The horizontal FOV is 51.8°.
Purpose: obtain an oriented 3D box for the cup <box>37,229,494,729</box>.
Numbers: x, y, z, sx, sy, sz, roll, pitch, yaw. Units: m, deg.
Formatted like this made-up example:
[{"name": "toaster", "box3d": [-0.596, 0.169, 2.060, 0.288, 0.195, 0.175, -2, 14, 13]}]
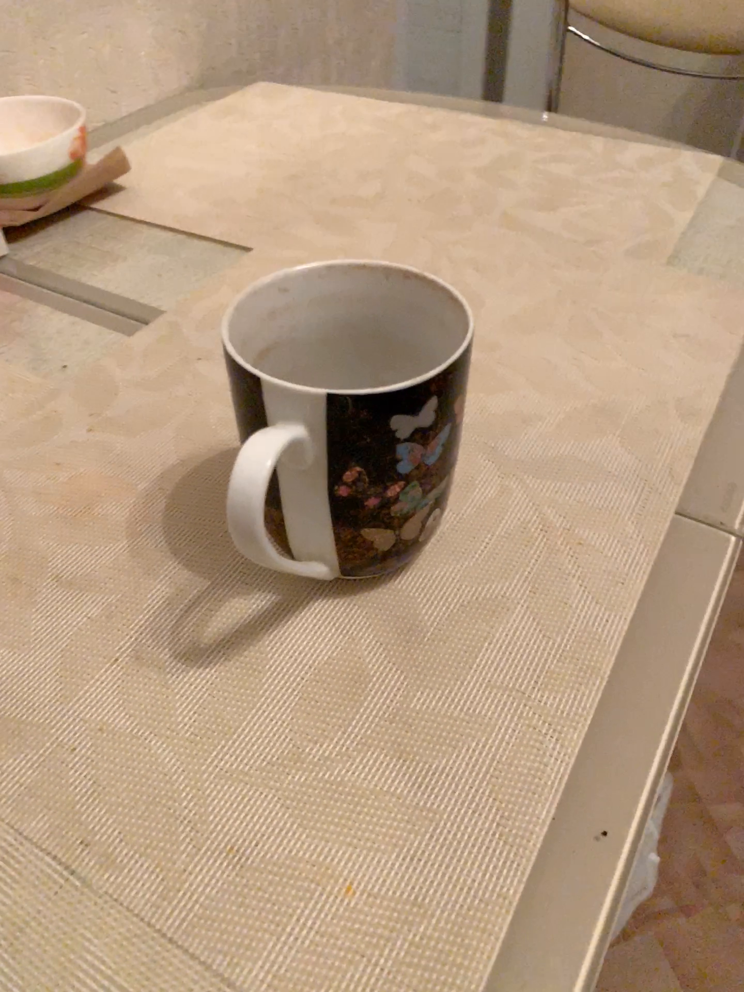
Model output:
[{"name": "cup", "box3d": [-0.024, -0.013, 0.265, 0.082, 0.097, 0.126, 20, 48, 20]}]
